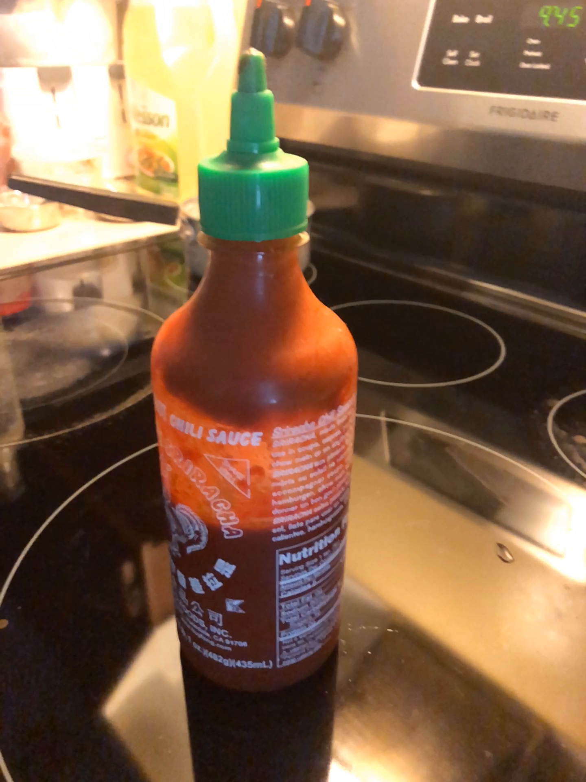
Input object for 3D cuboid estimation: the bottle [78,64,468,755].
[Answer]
[{"bbox_3d":[-0.008,0.008,0.211,0.070,0.199,0.070,1,28,0],"label":"bottle"}]
